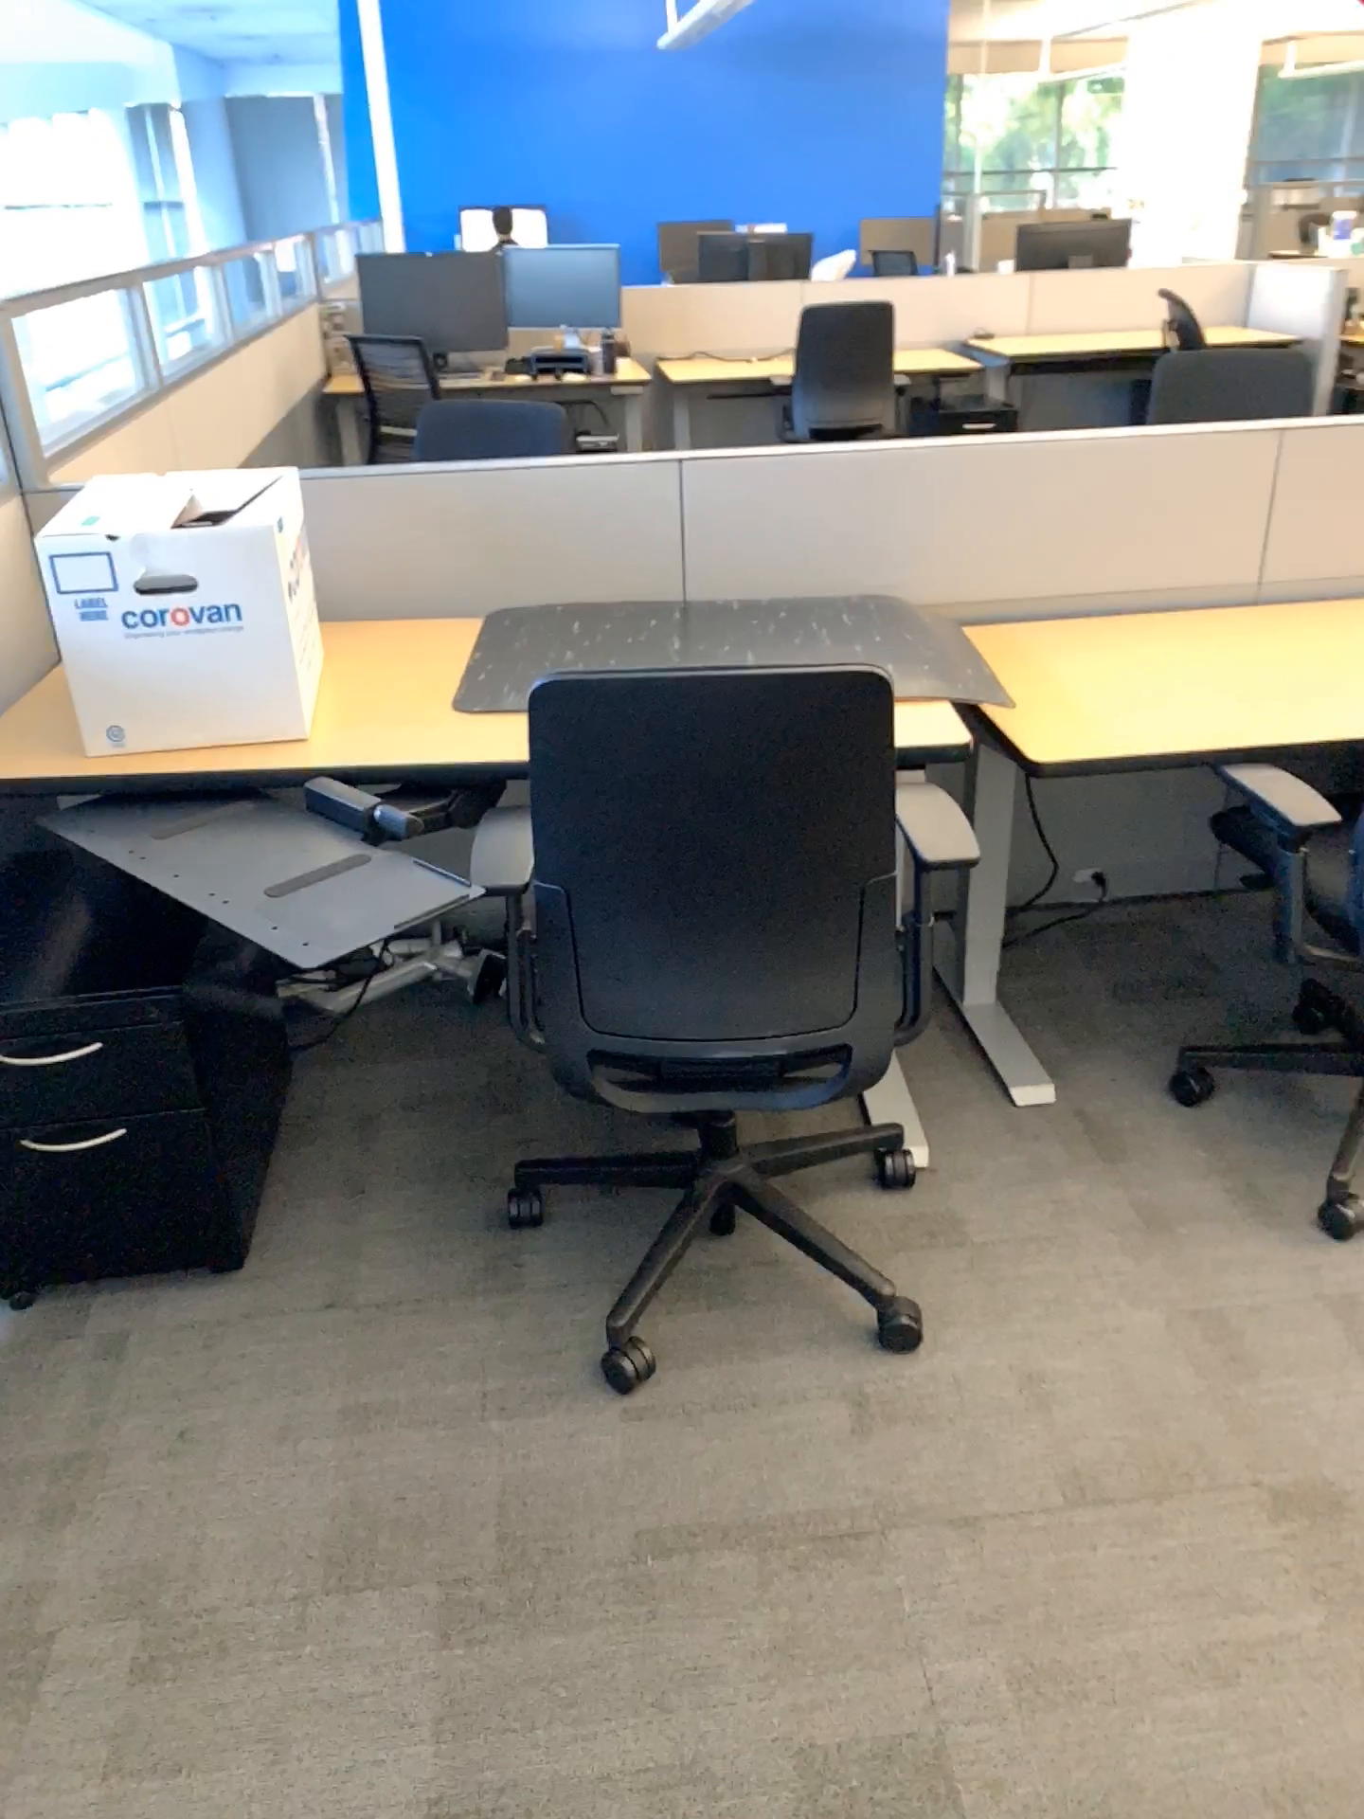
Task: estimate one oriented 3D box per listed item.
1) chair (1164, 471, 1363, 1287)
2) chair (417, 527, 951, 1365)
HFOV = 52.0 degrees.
[{"bbox_3d":[1.145,-0.062,2.043,0.520,0.994,0.584,-5,27,-6],"label":"chair"},{"bbox_3d":[0.019,0.041,1.960,0.560,0.994,0.604,-1,27,2],"label":"chair"}]
